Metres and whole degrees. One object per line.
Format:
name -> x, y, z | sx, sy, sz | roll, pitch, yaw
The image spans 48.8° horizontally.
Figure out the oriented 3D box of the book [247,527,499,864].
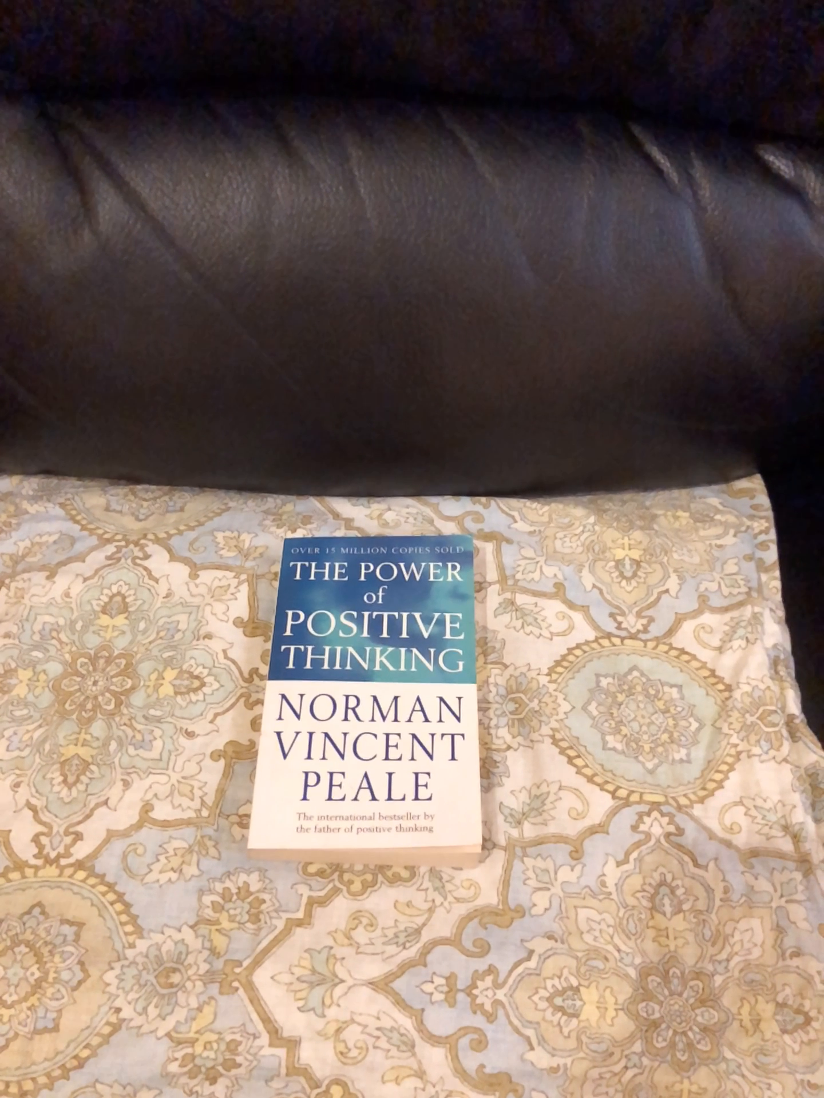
book -> -0.019, 0.073, 0.494 | 0.120, 0.030, 0.183 | 0, 58, -1
